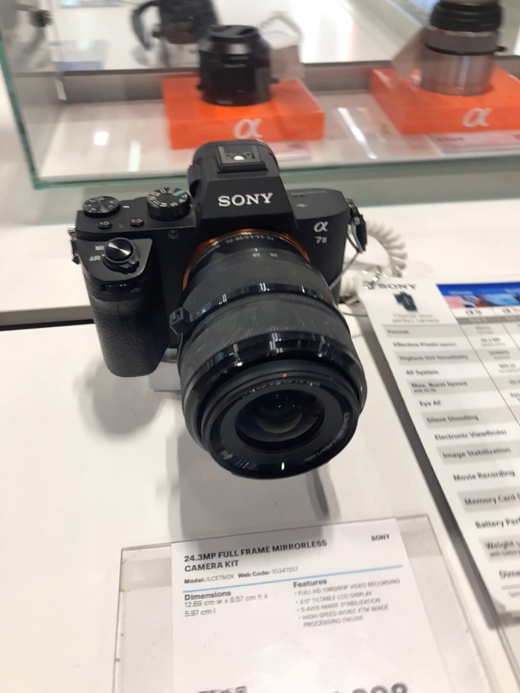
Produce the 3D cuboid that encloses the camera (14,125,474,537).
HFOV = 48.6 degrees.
[{"bbox_3d":[-0.013,-0.017,0.242,0.130,0.089,0.141,-7,42,-7],"label":"camera"}]
